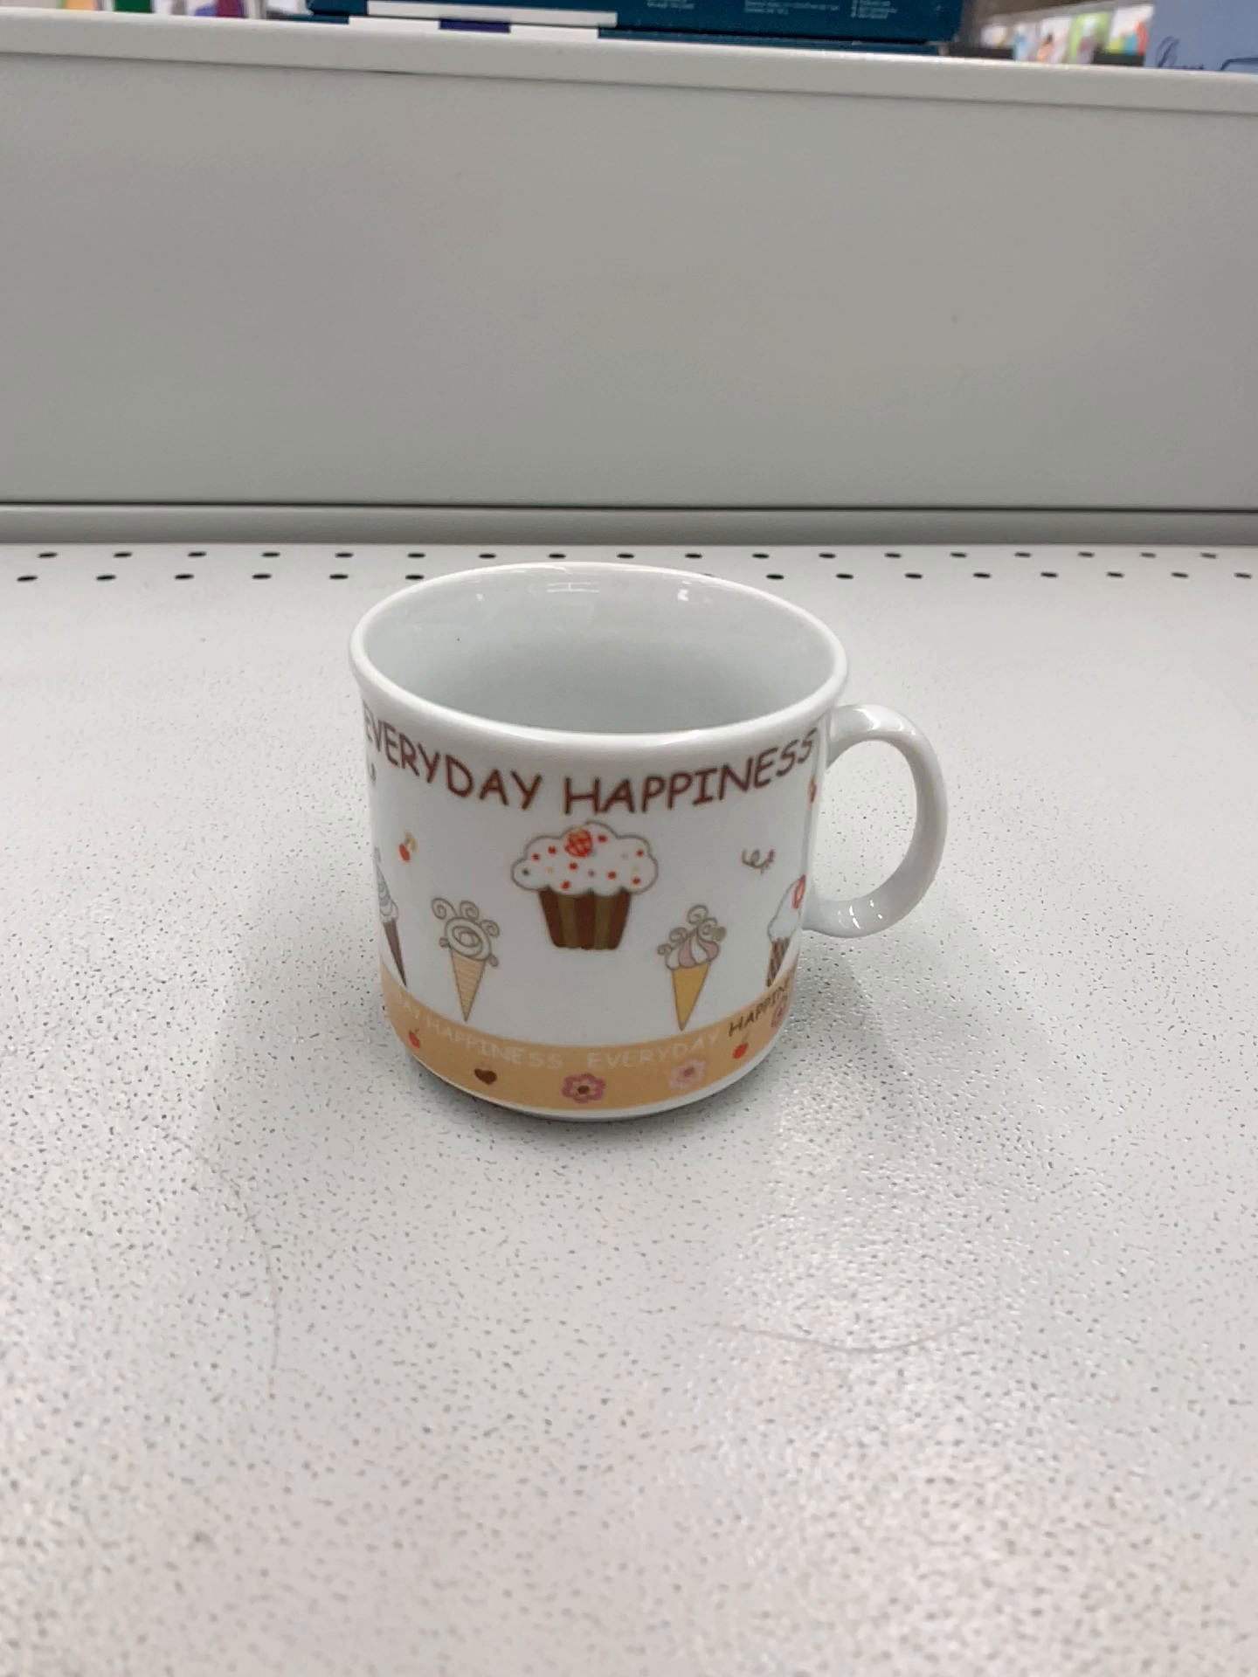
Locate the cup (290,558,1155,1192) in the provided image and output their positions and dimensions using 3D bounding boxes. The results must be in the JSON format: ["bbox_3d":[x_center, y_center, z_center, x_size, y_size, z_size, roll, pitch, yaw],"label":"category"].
[{"bbox_3d":[0.008,0.000,0.212,0.108,0.069,0.079,-1,29,-6],"label":"cup"}]
